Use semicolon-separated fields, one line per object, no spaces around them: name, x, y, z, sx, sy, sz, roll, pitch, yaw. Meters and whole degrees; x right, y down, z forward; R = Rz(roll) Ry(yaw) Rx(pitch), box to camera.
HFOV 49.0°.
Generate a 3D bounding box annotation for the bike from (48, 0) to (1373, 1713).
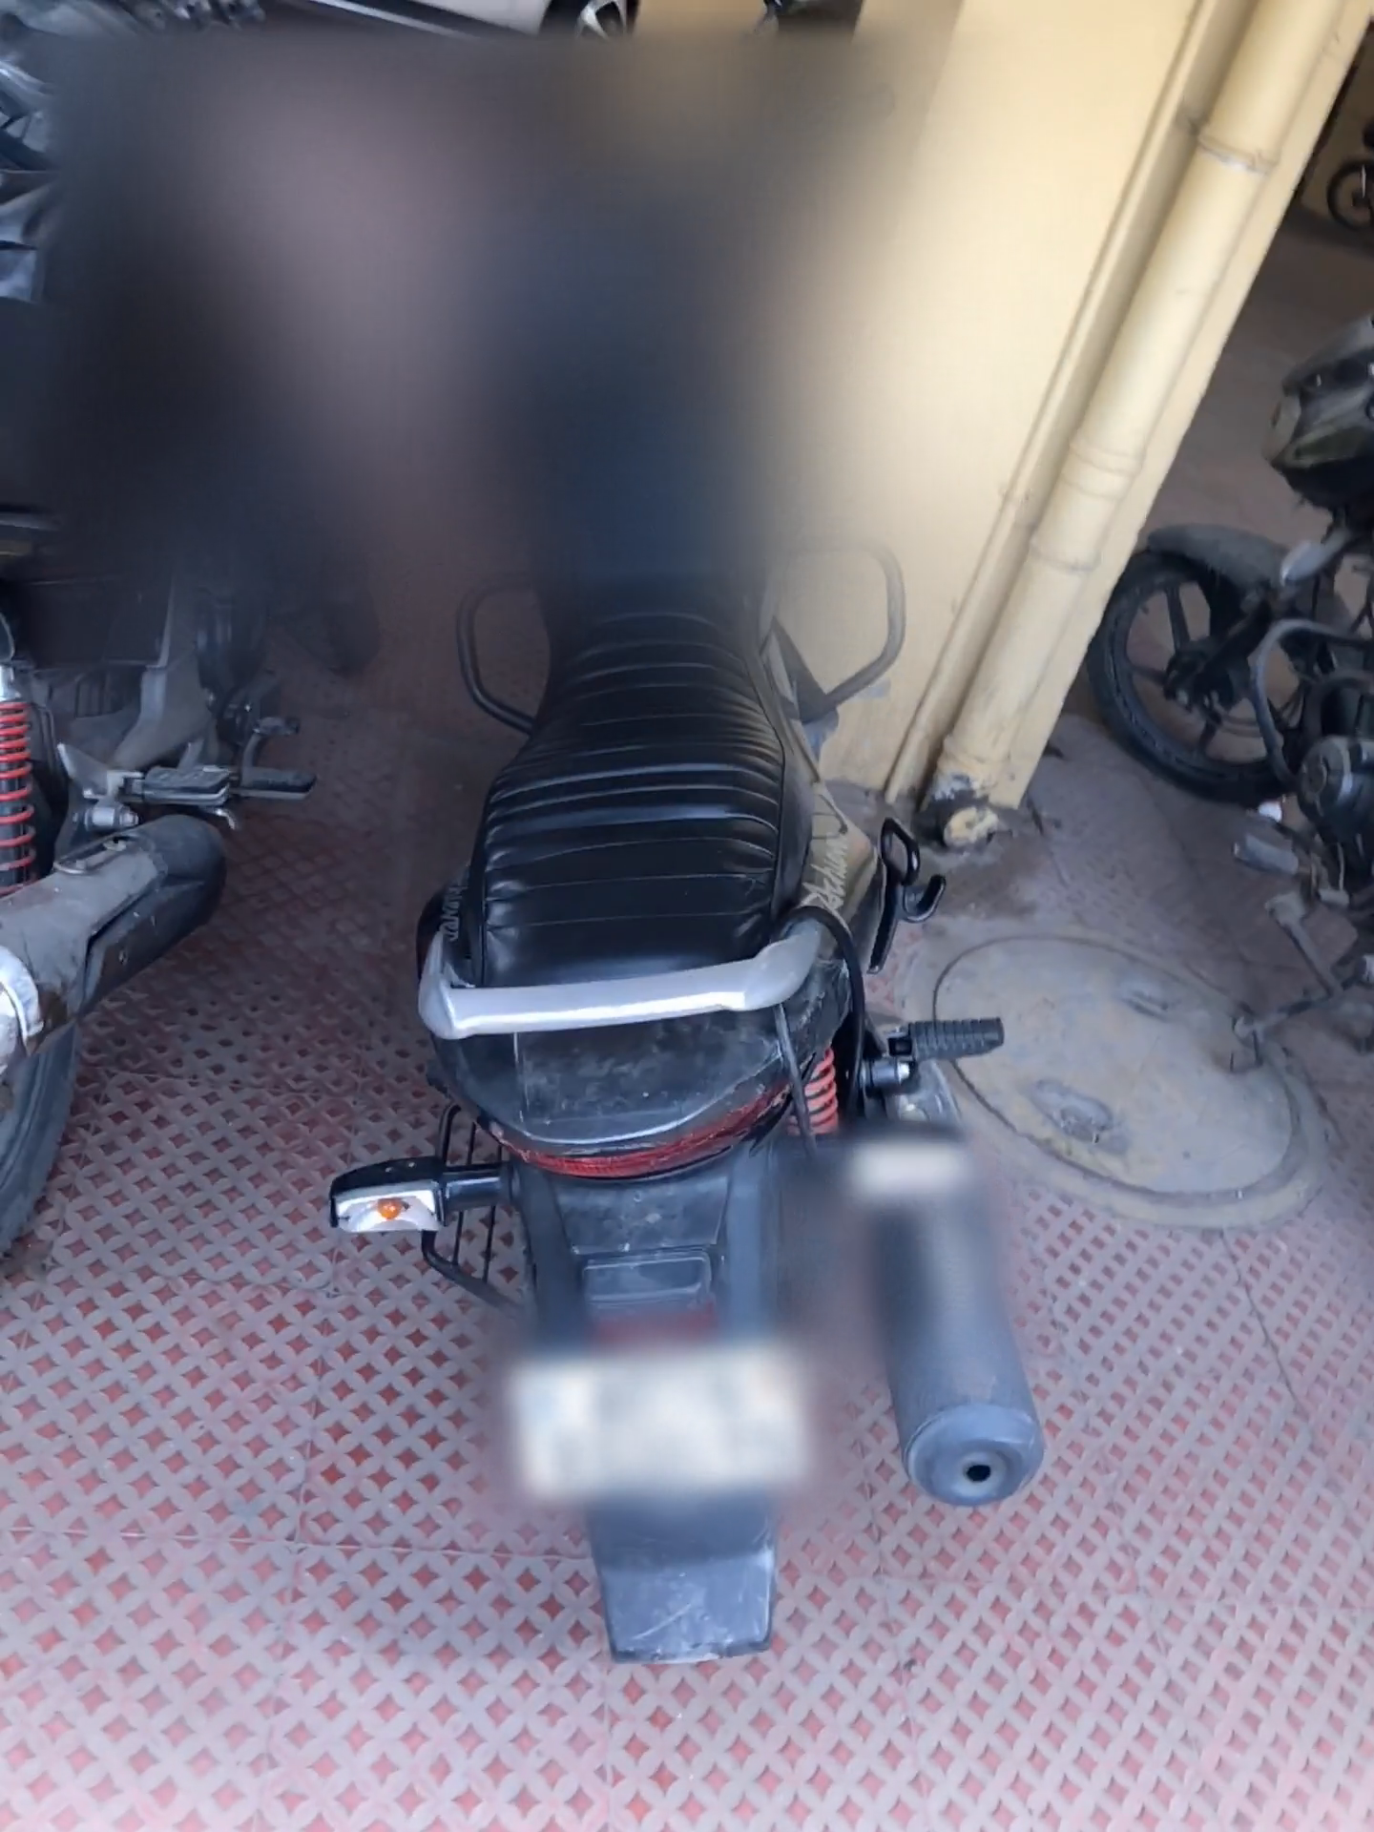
bike;-0.174;-0.301;1.693;0.731;1.125;1.768;6;36;-15
